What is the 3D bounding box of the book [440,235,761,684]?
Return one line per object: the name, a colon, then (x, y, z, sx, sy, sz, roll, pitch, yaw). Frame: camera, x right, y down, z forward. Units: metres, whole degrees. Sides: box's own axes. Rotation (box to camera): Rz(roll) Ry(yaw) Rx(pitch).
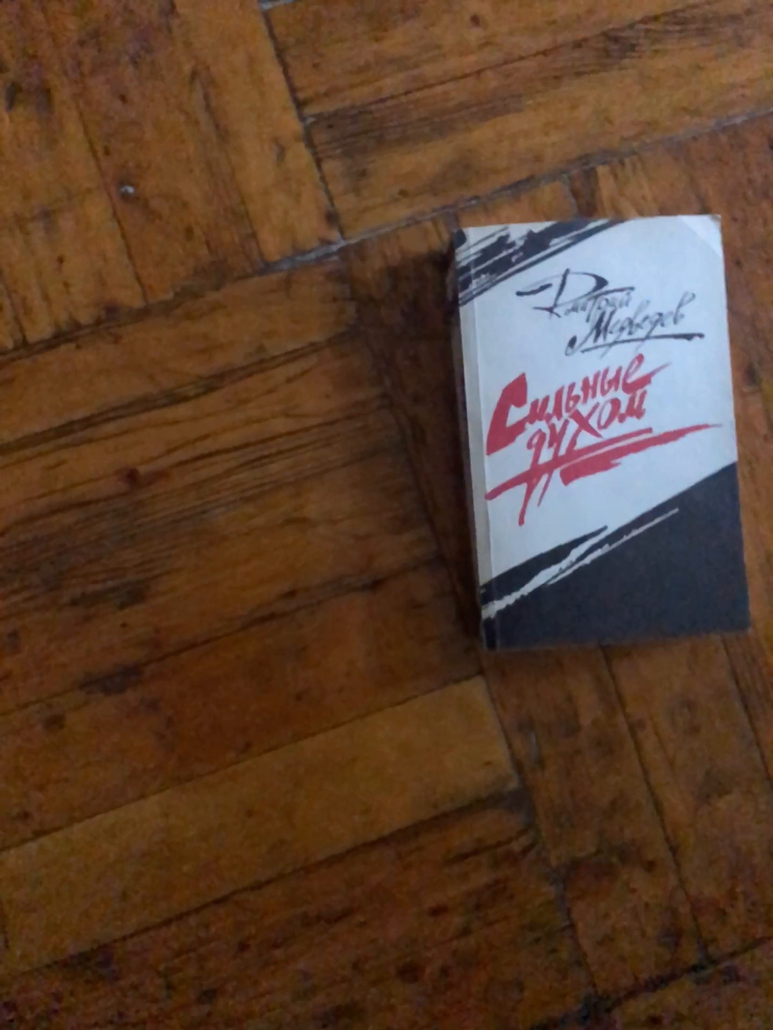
book: (0.107, -0.028, 0.441, 0.140, 0.050, 0.210, -4, 90, -4)
